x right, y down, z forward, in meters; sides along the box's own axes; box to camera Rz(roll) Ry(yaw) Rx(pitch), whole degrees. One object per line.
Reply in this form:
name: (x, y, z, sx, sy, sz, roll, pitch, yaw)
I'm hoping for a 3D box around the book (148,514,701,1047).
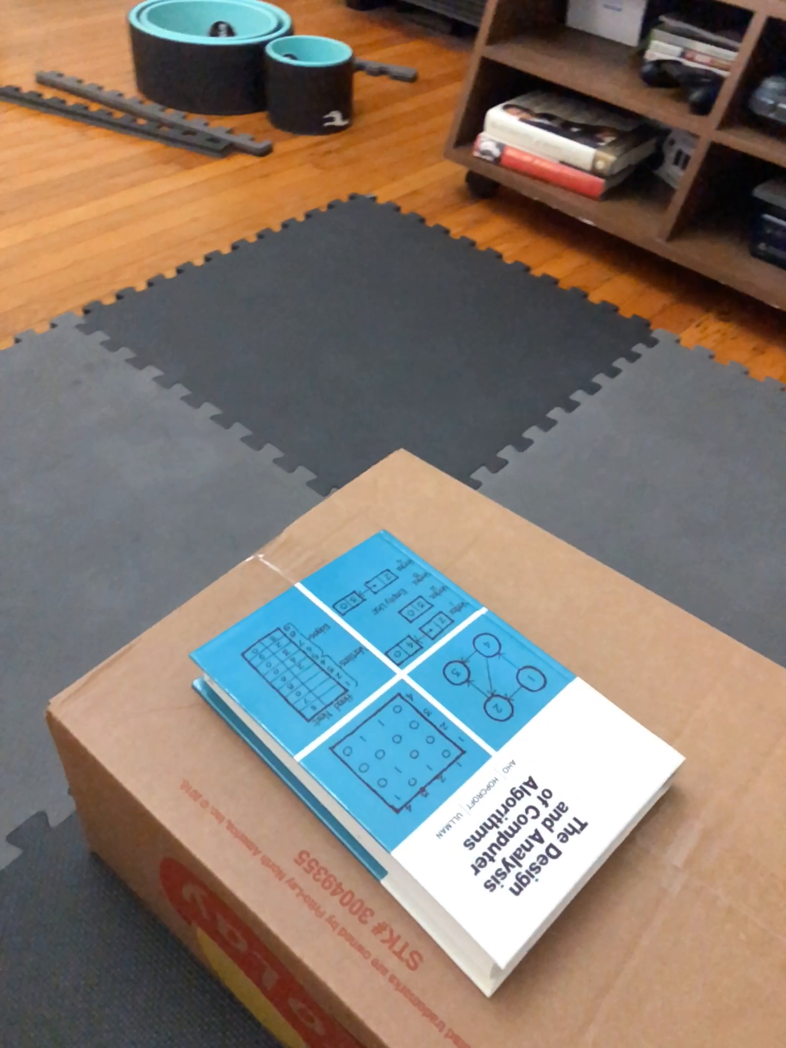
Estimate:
book: (0.013, 0.120, 0.510, 0.191, 0.040, 0.261, -32, 56, -33)
